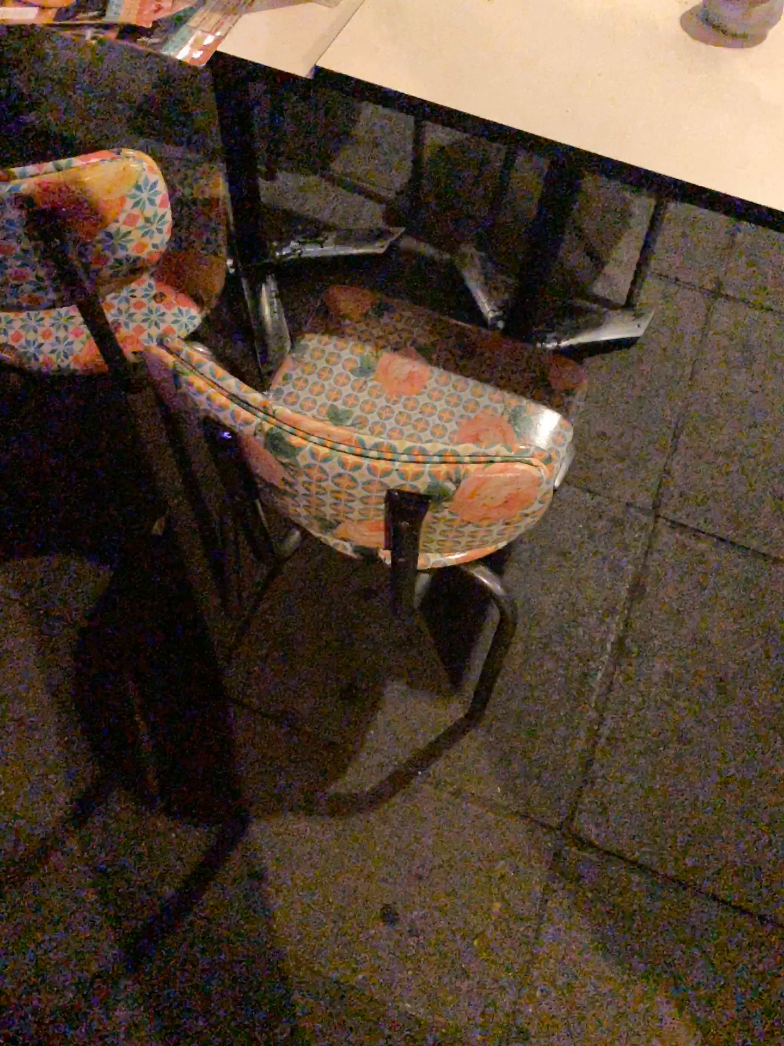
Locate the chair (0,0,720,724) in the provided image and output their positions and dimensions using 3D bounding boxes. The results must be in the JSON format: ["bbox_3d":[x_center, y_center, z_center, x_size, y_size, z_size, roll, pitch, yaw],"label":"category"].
[{"bbox_3d":[-0.008,-0.174,1.053,0.520,0.696,0.573,18,64,7],"label":"chair"}]
